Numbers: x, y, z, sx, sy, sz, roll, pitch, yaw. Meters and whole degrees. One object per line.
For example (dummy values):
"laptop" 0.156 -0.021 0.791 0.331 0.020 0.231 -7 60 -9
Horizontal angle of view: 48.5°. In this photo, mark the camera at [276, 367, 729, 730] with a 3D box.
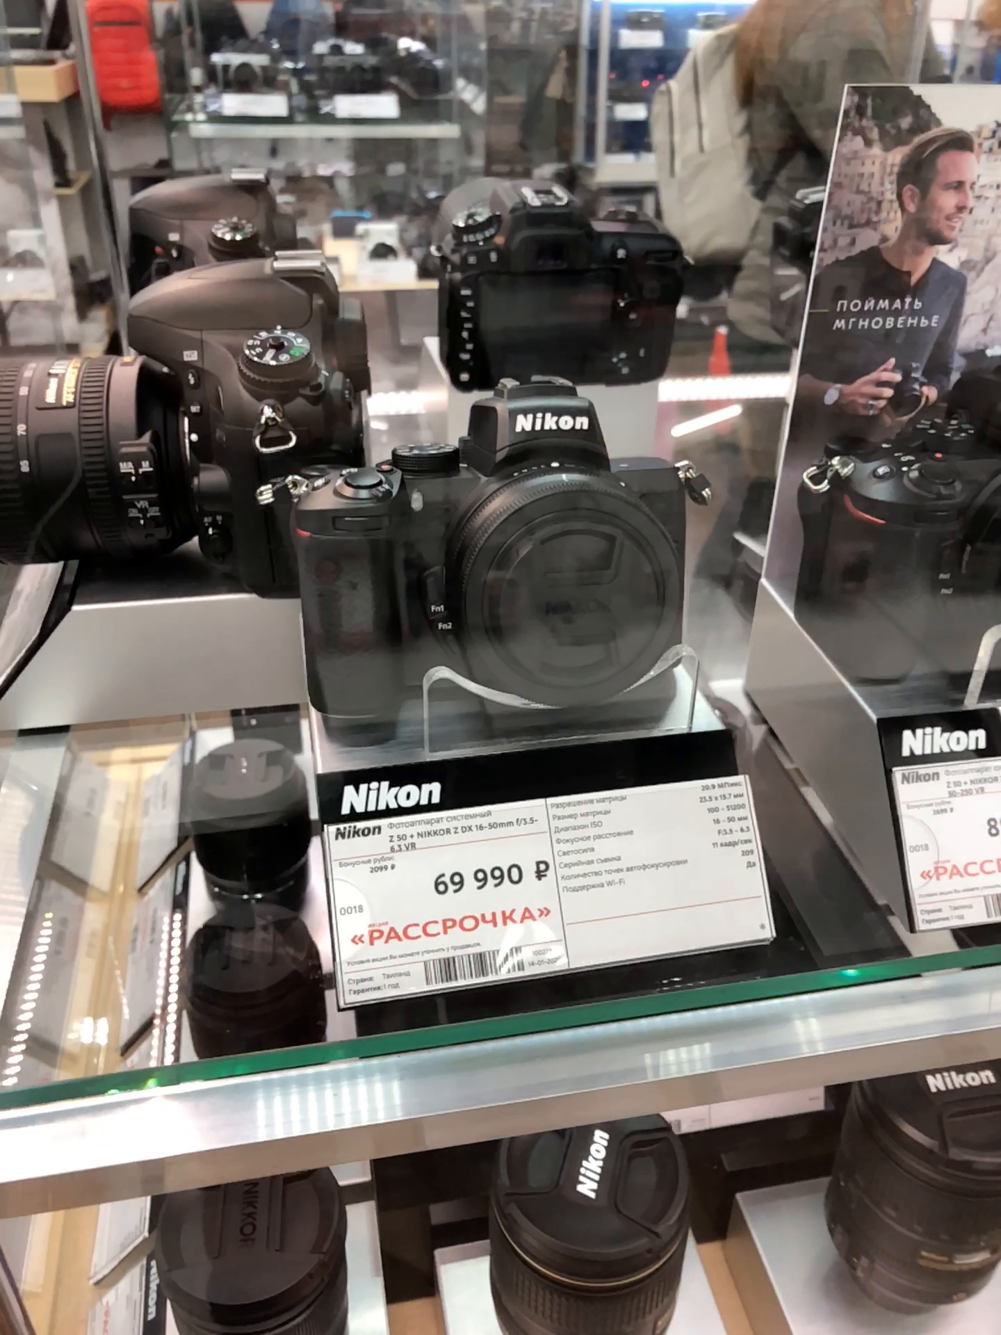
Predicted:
"camera" -0.005 -0.045 0.362 0.126 0.092 0.090 -4 20 -9

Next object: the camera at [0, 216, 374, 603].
"camera" -0.129 -0.106 0.444 0.150 0.112 0.130 -1 31 -9
